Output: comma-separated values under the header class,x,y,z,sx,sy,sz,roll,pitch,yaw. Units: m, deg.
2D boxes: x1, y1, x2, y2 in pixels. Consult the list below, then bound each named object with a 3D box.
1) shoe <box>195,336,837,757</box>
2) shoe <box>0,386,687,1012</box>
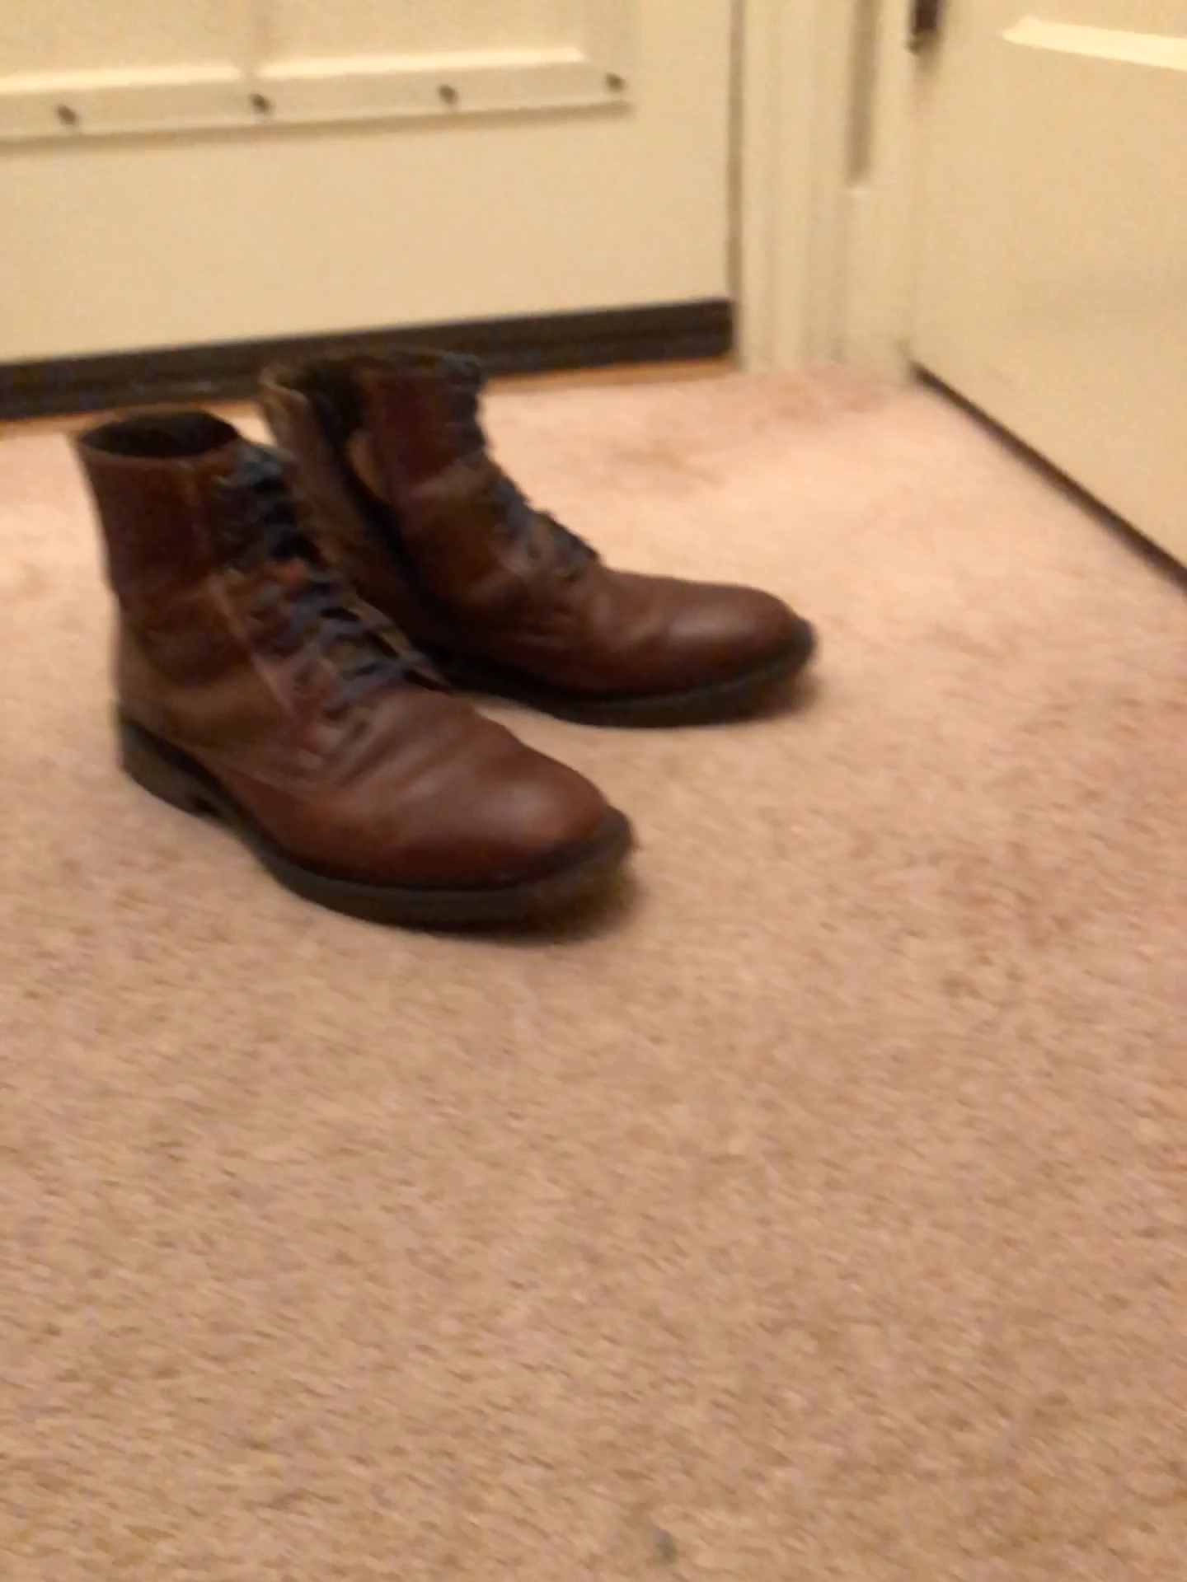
class,x,y,z,sx,sy,sz,roll,pitch,yaw
shoe,-0.033,-0.137,0.703,0.301,0.172,0.111,7,34,15
shoe,-0.121,-0.059,0.592,0.316,0.172,0.113,21,39,32
